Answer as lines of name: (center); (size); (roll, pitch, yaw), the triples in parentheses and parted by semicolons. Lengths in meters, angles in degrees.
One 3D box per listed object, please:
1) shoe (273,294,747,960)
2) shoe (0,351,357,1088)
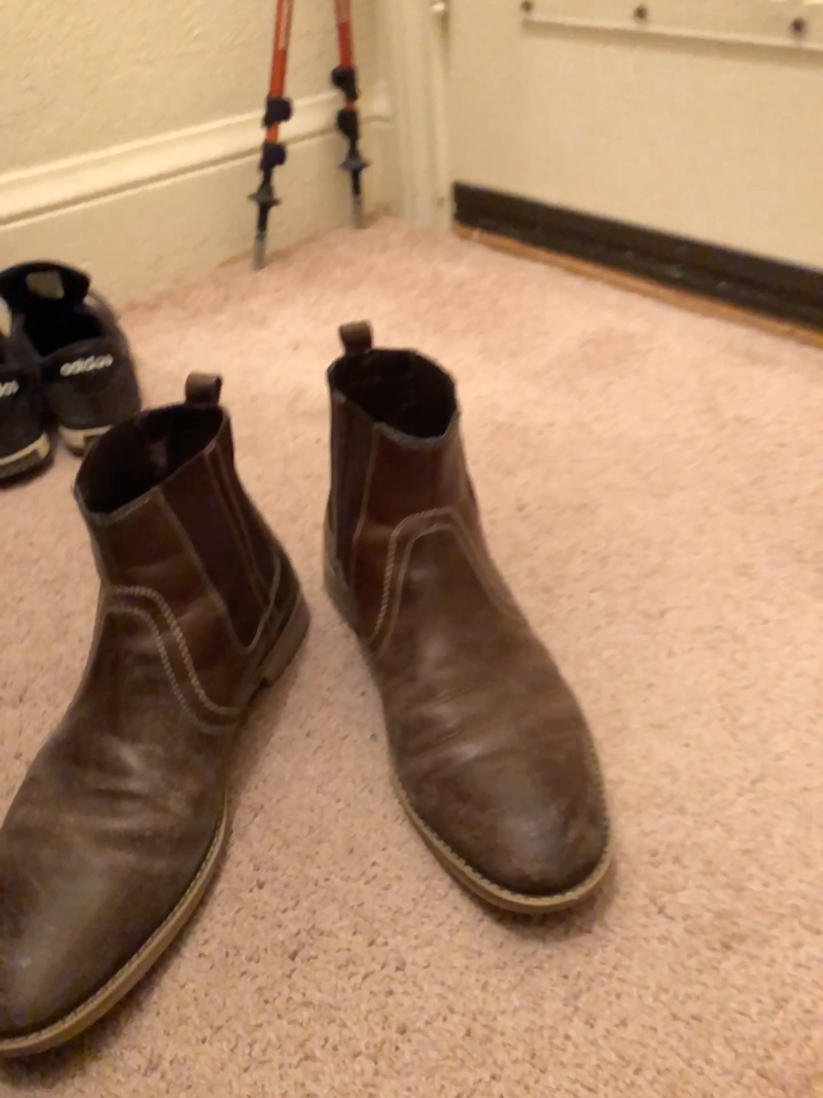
shoe: (0.023, 0.012, 0.462); (0.119, 0.158, 0.299); (-13, 39, -9)
shoe: (-0.136, 0.049, 0.432); (0.118, 0.158, 0.299); (6, 39, 14)
